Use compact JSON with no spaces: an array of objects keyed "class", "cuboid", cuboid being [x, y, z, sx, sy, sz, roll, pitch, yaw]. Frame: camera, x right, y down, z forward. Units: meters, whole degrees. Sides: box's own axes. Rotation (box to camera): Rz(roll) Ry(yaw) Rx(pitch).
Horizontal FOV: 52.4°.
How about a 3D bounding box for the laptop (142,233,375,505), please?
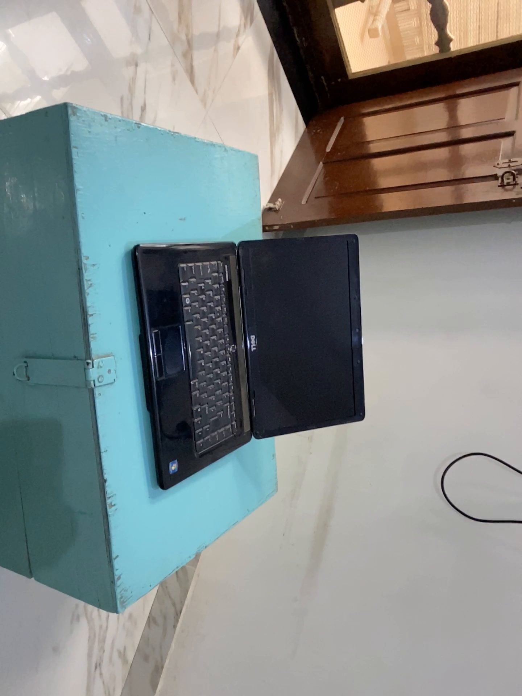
[{"class":"laptop","cuboid":[0.032,-0.002,0.907,0.414,0.162,0.363,-20,109,-55]}]
